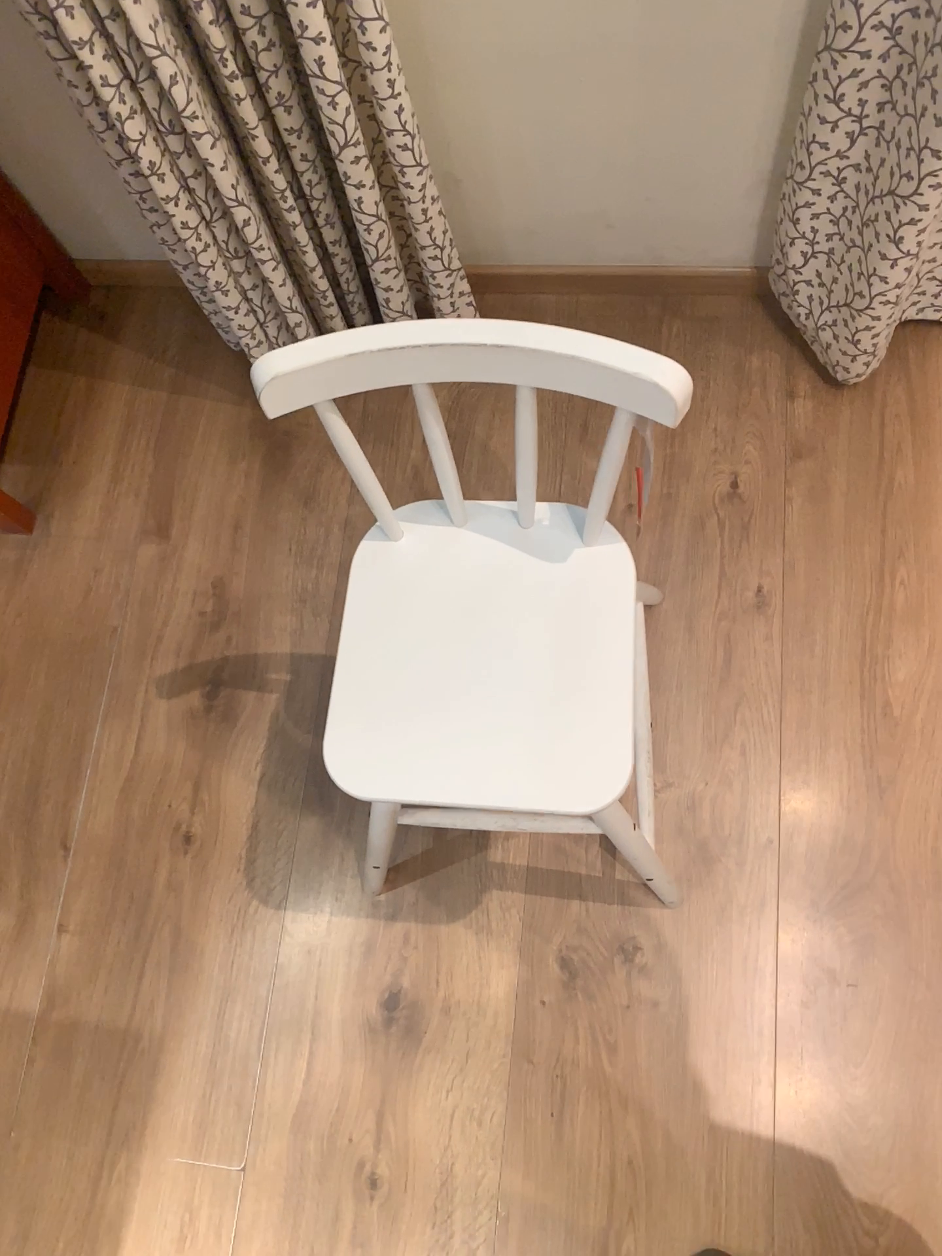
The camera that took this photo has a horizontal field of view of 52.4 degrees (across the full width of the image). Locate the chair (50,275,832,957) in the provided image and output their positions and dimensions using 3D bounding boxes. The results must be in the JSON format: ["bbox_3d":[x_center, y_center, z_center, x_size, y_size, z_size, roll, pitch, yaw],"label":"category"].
[{"bbox_3d":[0.022,0.063,0.913,0.450,0.649,0.430,1,73,8],"label":"chair"}]
